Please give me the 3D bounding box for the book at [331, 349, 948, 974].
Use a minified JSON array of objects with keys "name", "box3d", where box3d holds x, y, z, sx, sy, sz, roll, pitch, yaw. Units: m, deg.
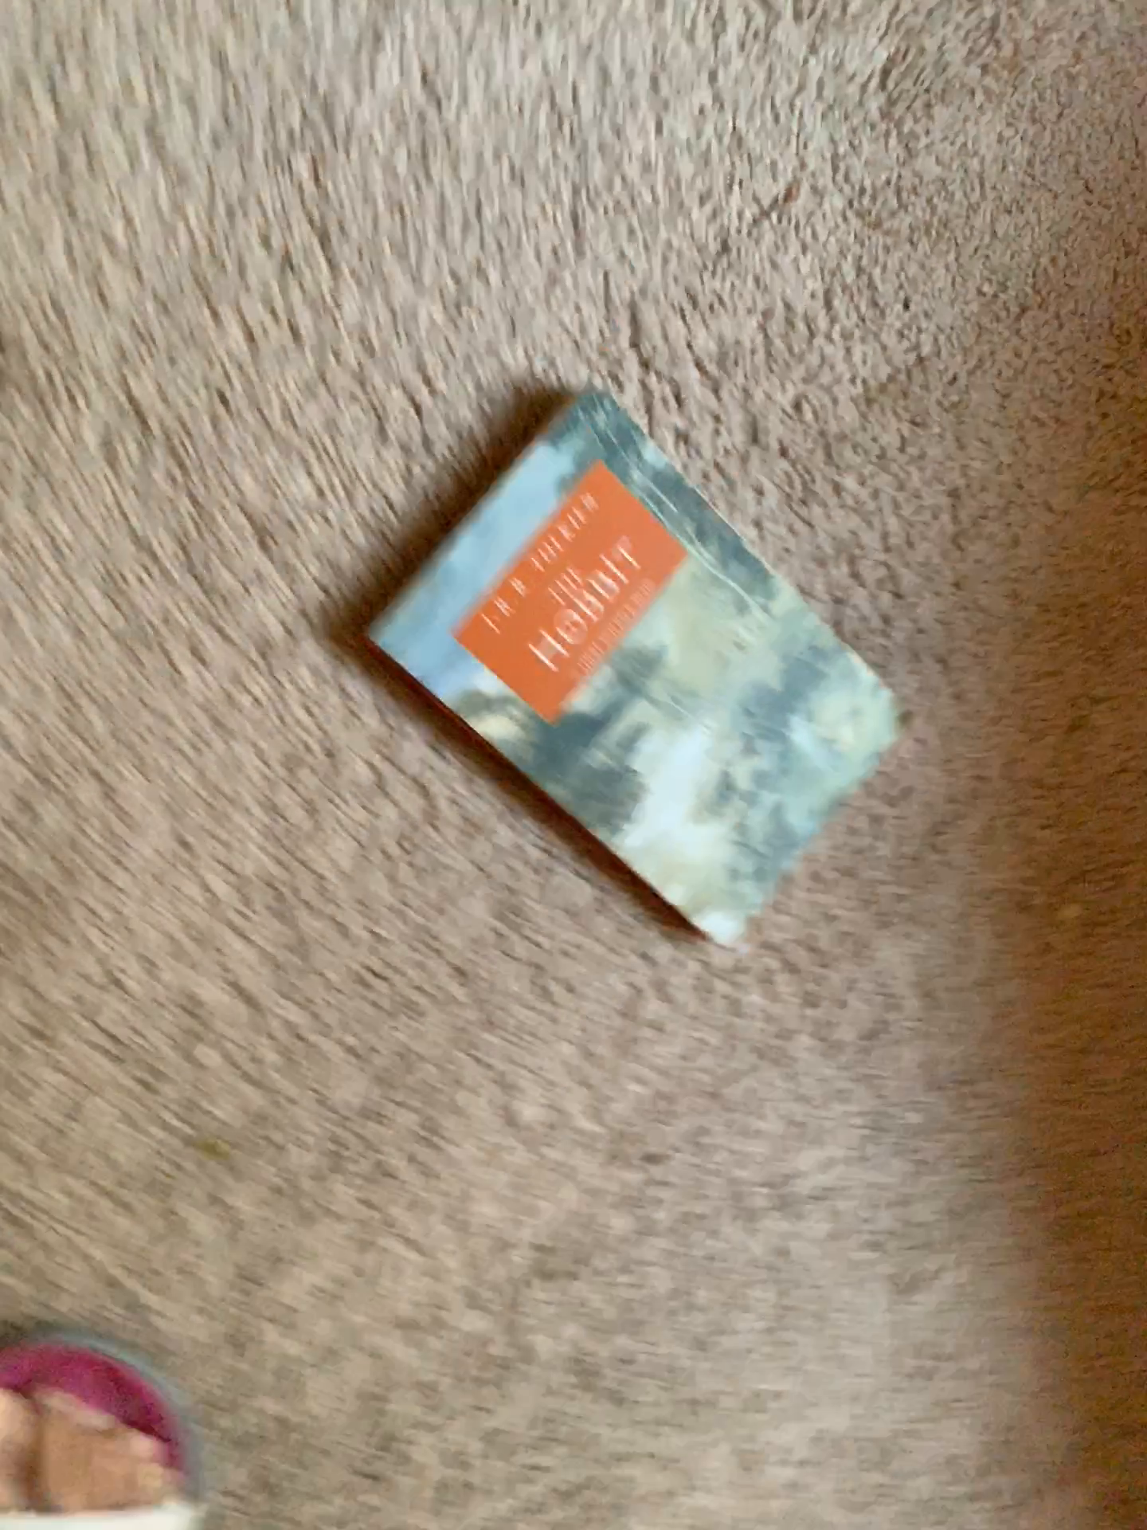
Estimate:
[{"name":"book","box3d":[0.033,-0.039,0.500,0.220,0.030,0.150,40,82,-13]}]
